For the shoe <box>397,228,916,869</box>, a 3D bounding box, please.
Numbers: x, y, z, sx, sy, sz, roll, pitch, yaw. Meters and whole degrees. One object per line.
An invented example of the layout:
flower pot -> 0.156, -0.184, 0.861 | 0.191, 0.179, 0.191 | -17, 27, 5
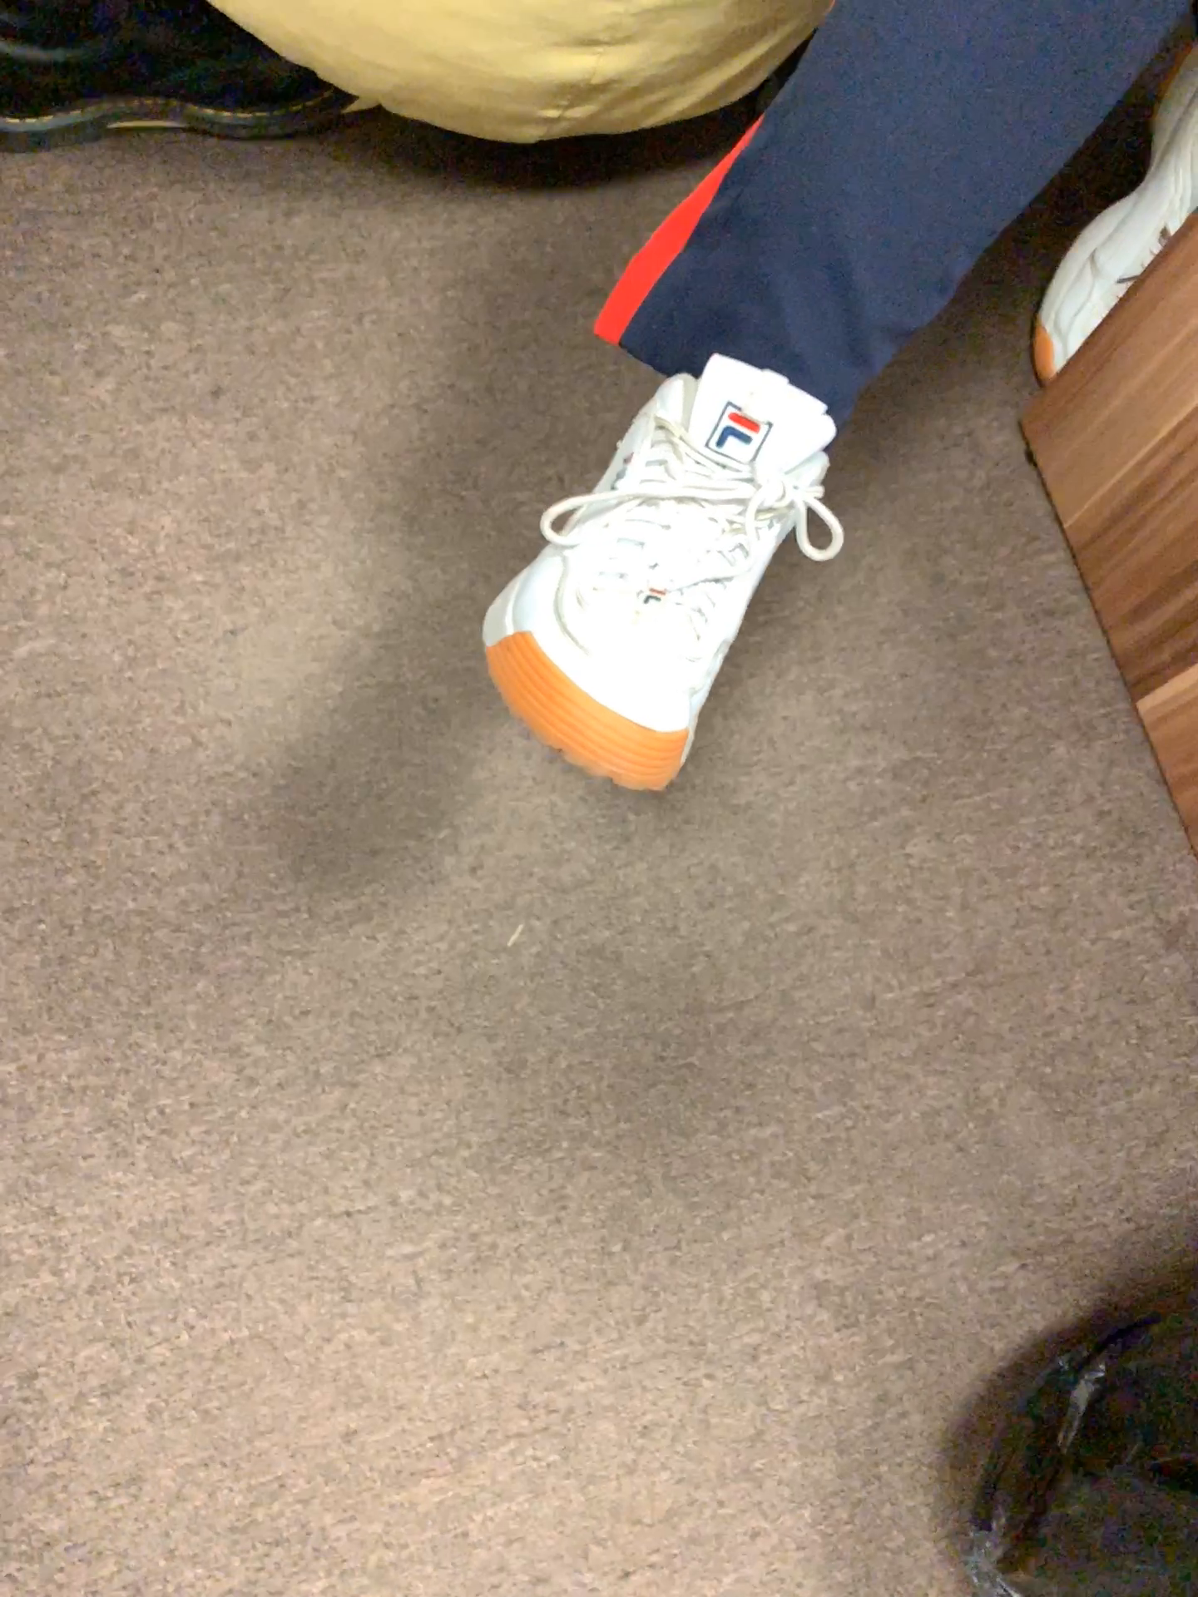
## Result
shoe -> 0.034, -0.116, 0.539 | 0.130, 0.130, 0.230 | 30, 47, -8
